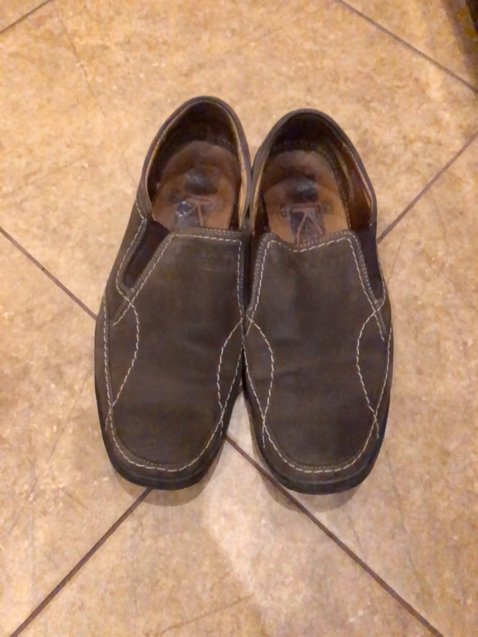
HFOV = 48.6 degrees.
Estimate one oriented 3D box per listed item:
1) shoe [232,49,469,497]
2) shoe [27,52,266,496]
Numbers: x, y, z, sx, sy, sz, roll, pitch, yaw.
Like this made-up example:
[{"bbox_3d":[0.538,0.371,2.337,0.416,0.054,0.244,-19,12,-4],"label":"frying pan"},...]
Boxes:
[{"bbox_3d":[0.057,-0.037,0.367,0.120,0.090,0.301,1,68,-2],"label":"shoe"},{"bbox_3d":[-0.047,-0.037,0.375,0.120,0.090,0.301,3,68,-1],"label":"shoe"}]
